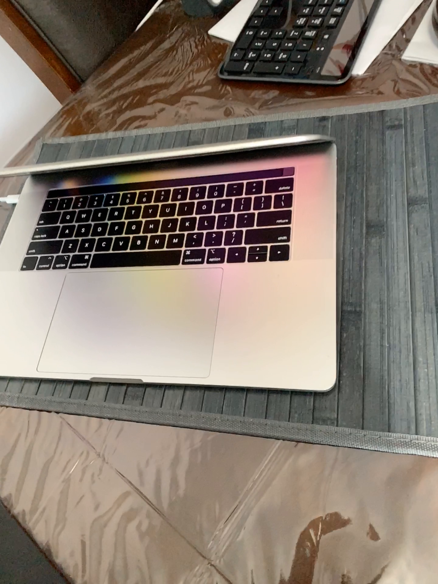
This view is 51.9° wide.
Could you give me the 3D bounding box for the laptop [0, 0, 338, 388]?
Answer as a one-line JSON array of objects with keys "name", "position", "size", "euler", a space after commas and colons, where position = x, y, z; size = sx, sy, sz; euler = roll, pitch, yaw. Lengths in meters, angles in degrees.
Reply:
[{"name": "laptop", "position": [-0.089, -0.072, 0.347], "size": [0.340, 0.164, 0.234], "euler": [-1, 62, 17]}]
